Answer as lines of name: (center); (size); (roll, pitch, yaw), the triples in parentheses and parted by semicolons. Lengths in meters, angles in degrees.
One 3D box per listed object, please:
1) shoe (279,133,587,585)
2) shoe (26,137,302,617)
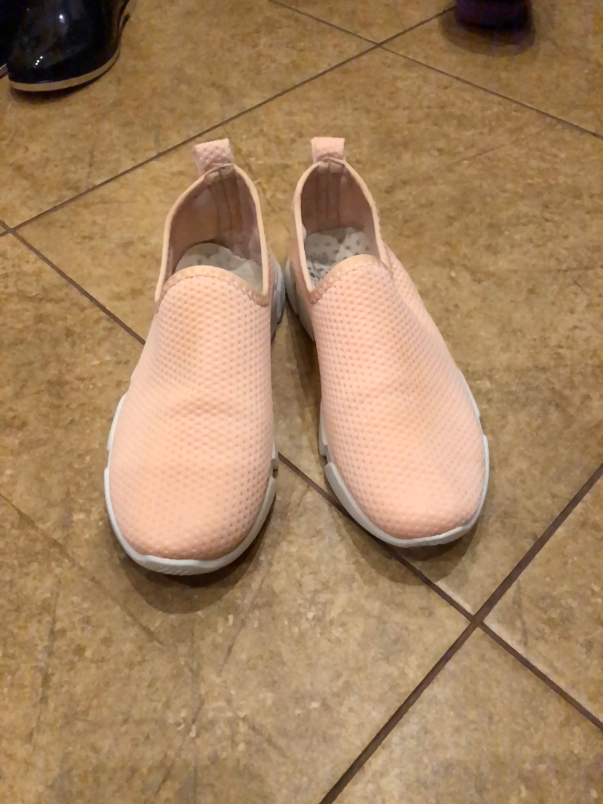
shoe: (0.049, -0.036, 0.362); (0.090, 0.099, 0.231); (-7, 51, -5)
shoe: (-0.050, -0.025, 0.364); (0.090, 0.119, 0.241); (2, 51, 2)
